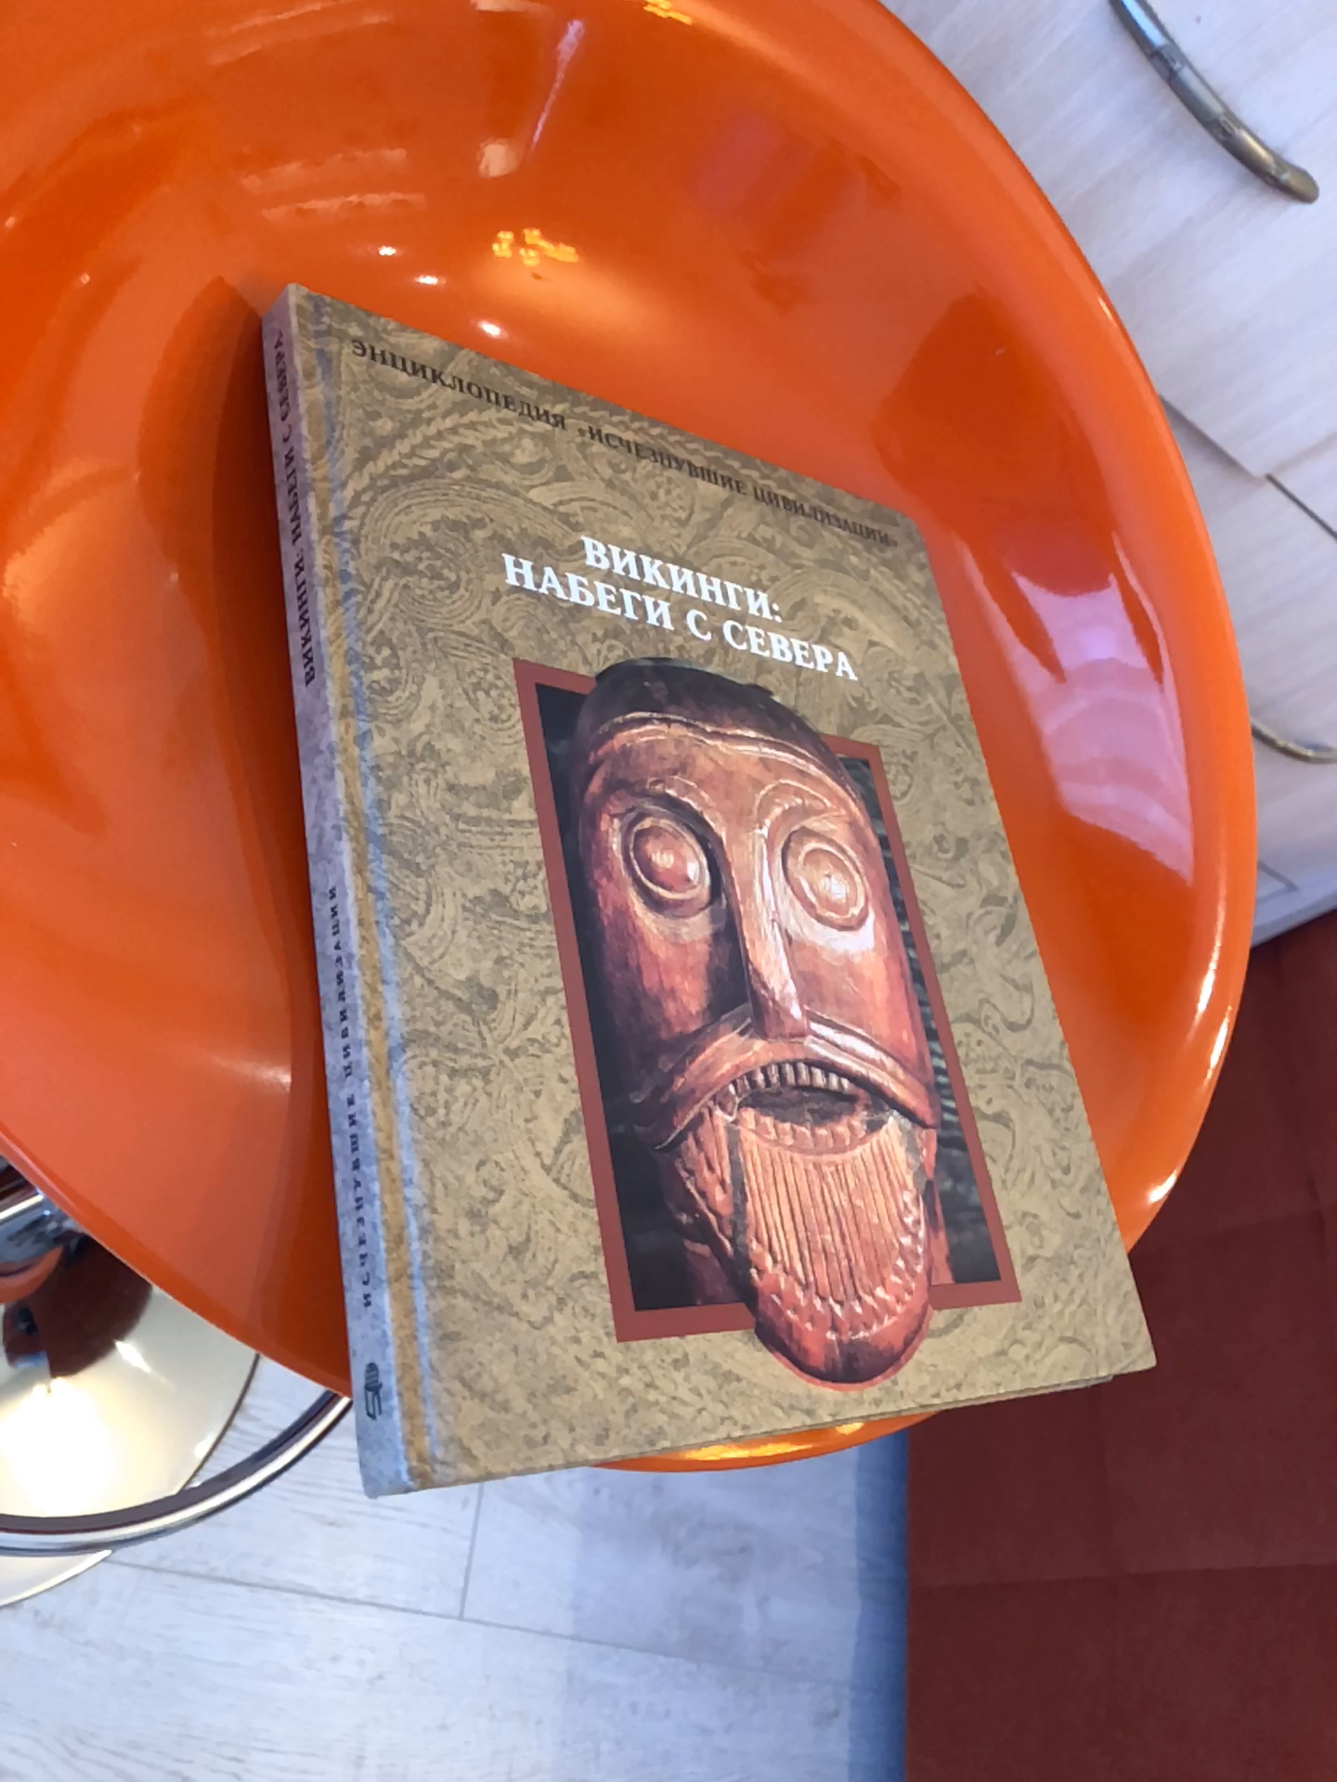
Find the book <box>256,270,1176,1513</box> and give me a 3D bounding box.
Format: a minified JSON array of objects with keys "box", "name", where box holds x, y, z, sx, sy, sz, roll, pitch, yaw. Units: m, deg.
[{"box":[0.014,-0.005,0.358,0.216,0.022,0.261,9,61,-38],"name":"book"}]
